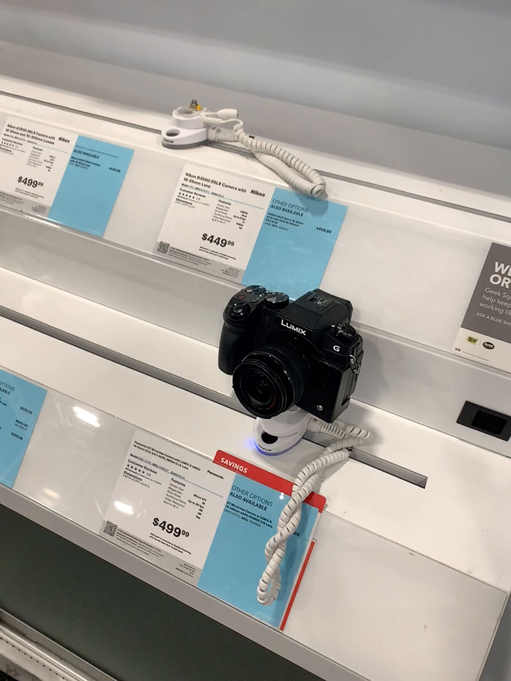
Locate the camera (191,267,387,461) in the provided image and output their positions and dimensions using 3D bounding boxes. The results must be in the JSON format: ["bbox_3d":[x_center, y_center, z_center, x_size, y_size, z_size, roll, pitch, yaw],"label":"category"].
[{"bbox_3d":[0.027,0.014,0.457,0.119,0.080,0.115,27,43,25],"label":"camera"}]
